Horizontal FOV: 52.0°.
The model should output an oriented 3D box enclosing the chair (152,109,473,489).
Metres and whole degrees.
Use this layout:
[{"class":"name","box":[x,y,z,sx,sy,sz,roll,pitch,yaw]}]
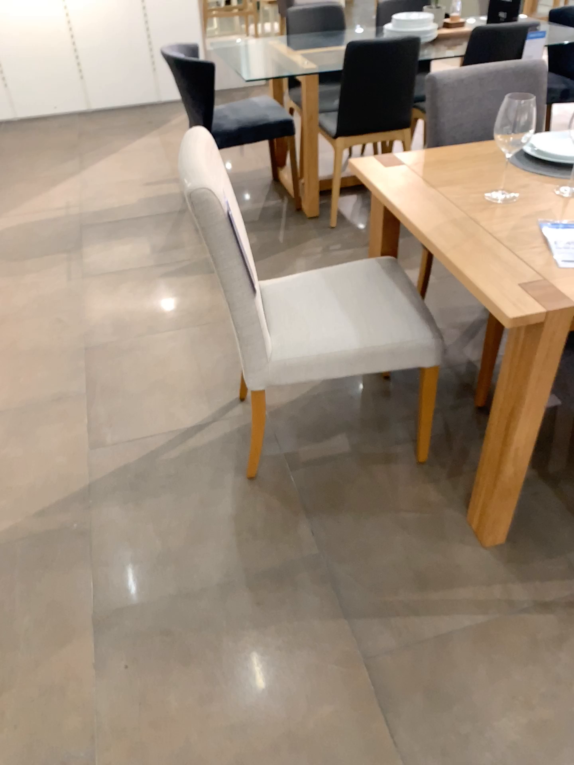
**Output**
[{"class":"chair","box":[0.039,-0.222,1.634,0.642,0.838,0.541,-5,39,-4]}]
